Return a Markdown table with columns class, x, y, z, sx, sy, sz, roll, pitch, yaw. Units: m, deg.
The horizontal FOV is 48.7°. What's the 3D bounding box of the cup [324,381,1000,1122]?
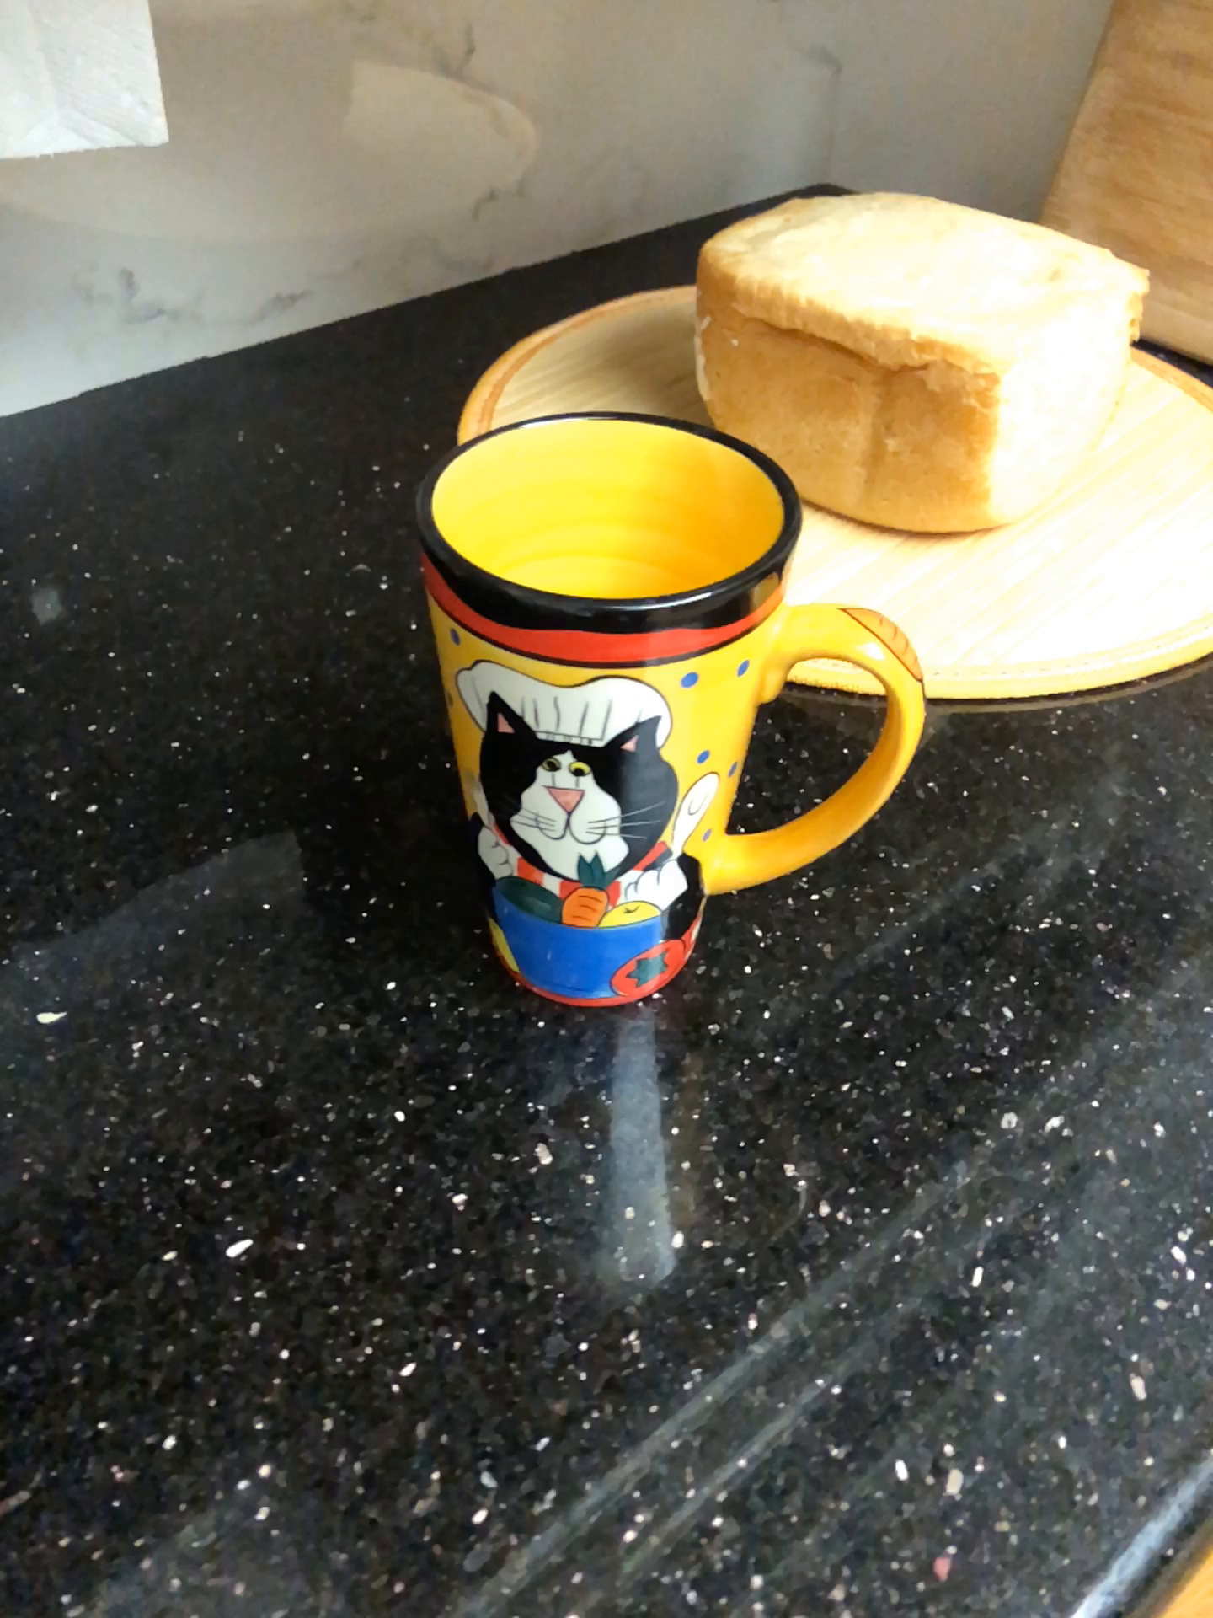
| class | x | y | z | sx | sy | sz | roll | pitch | yaw |
| --- | --- | --- | --- | --- | --- | --- | --- | --- | --- |
| cup | 0.015 | -0.014 | 0.343 | 0.130 | 0.139 | 0.090 | 13 | 44 | 12 |
